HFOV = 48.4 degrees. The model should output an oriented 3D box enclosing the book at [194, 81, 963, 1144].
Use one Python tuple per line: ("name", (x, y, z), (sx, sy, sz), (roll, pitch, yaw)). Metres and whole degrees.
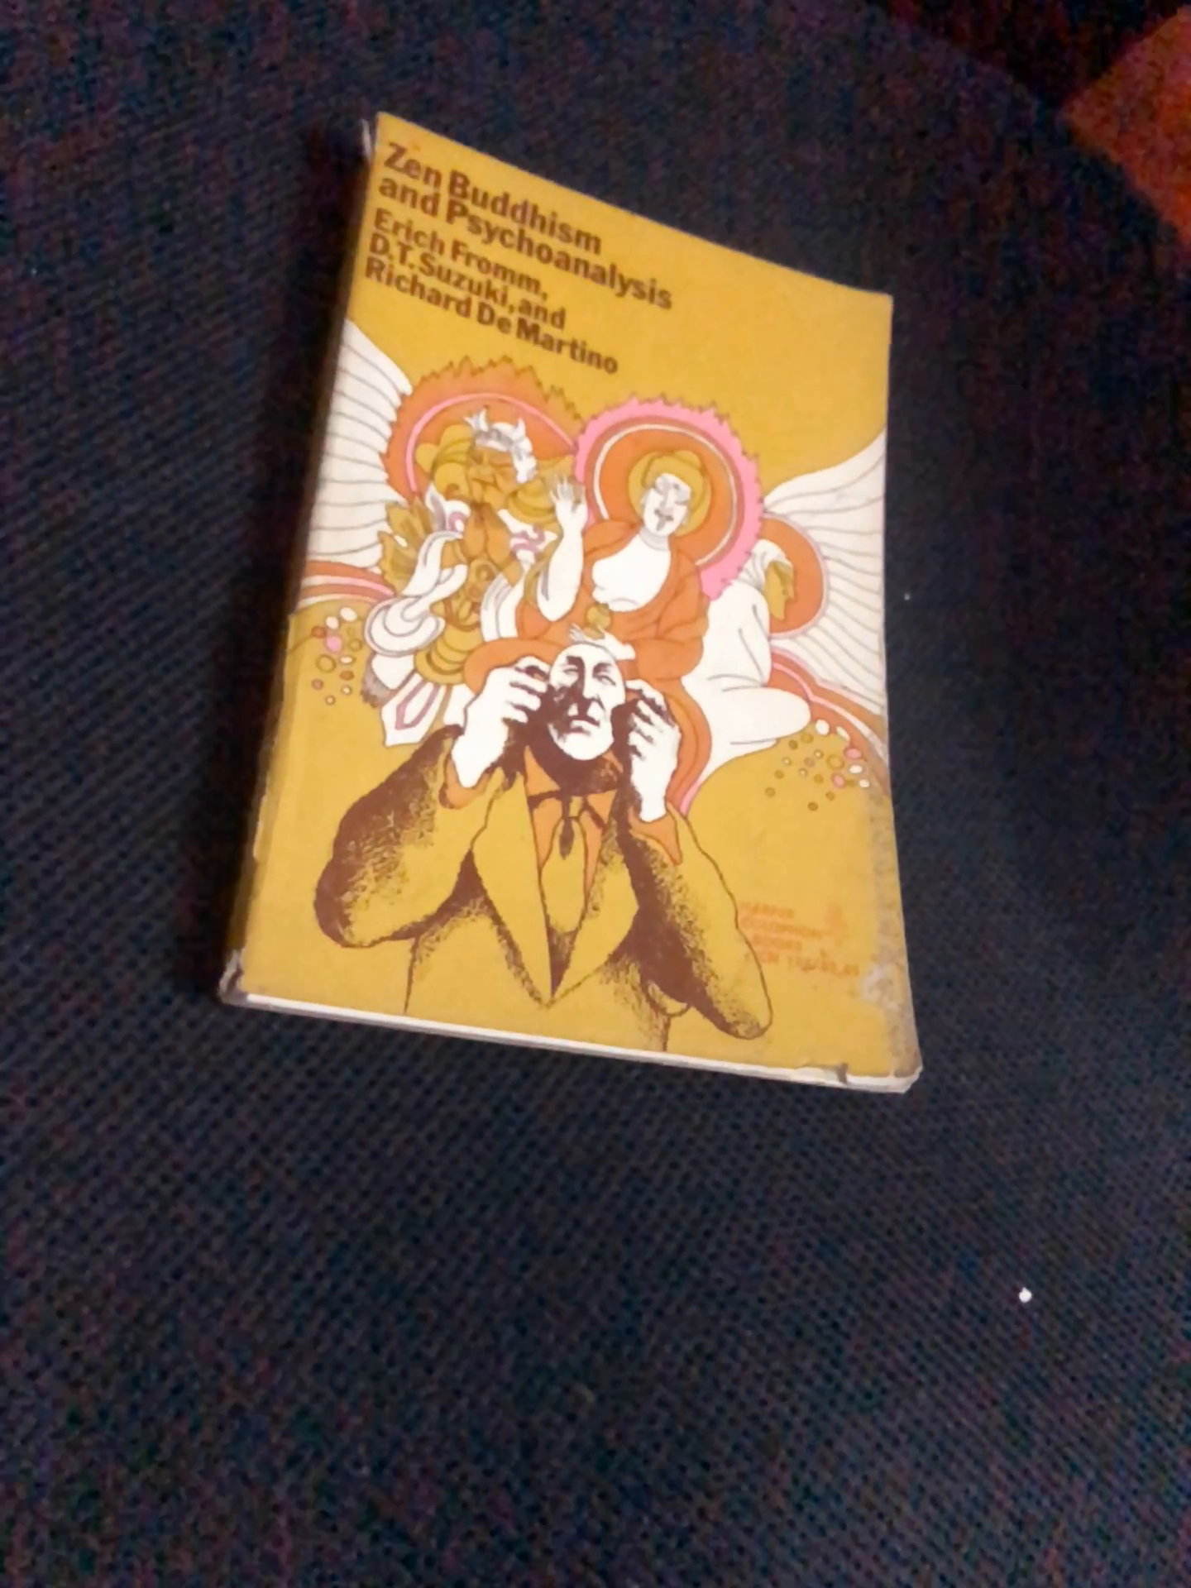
("book", (0.002, -0.036, 0.265), (0.137, 0.020, 0.200), (8, 68, -22))
